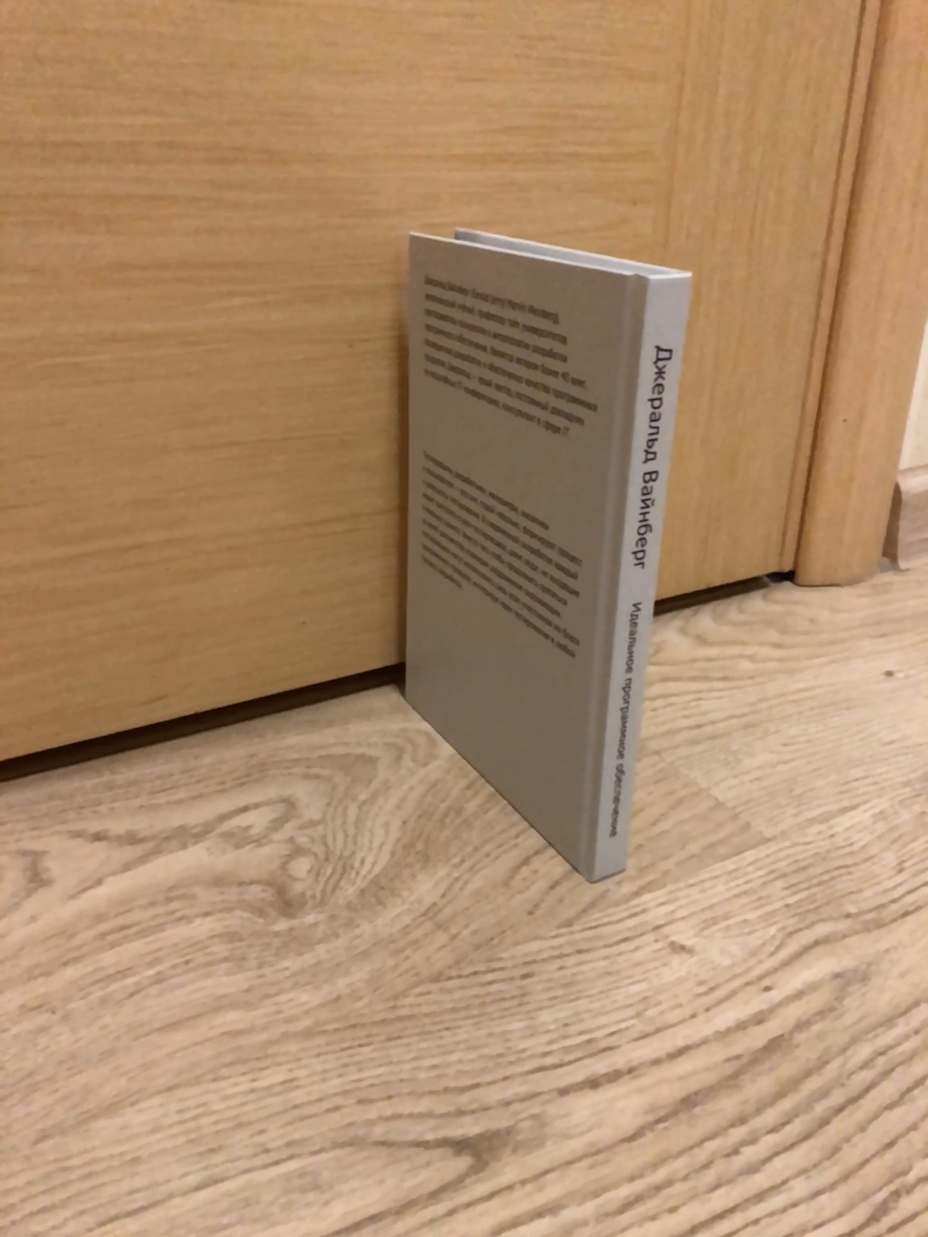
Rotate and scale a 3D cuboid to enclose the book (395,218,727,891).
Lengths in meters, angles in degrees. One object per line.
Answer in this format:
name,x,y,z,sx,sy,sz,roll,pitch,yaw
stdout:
book,0.020,-0.033,0.382,0.023,0.209,0.163,-11,27,-27
